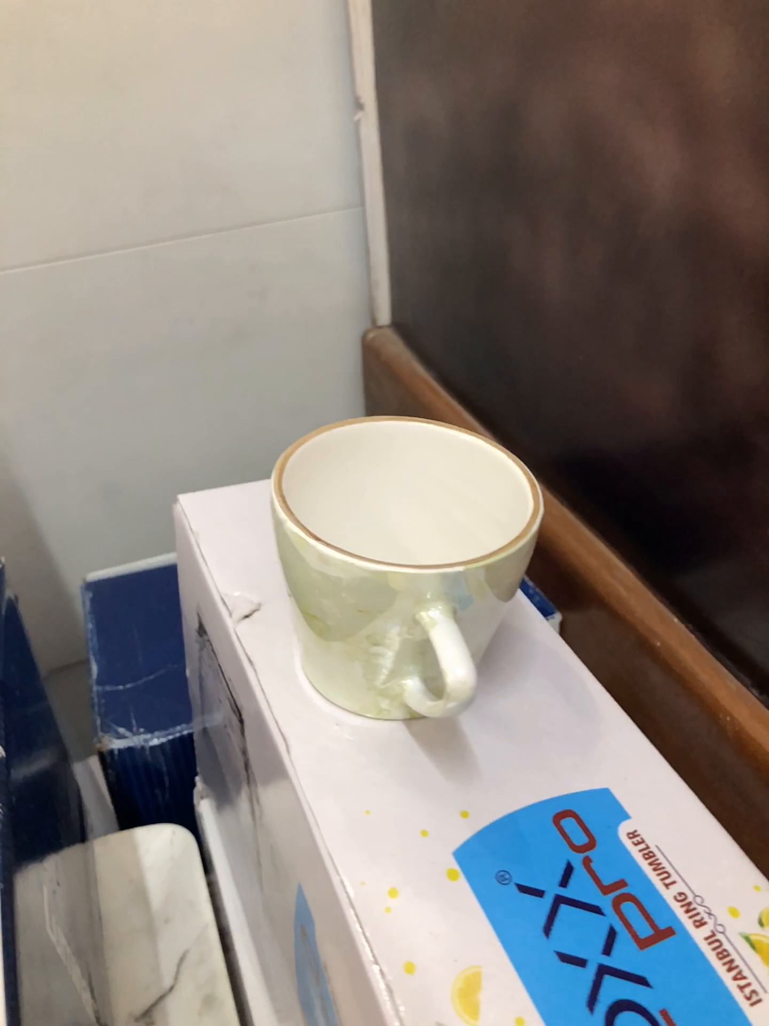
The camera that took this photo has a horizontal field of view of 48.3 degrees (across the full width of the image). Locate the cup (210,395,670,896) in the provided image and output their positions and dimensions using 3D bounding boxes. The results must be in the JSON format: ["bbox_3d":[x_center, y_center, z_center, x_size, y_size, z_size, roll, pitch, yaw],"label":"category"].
[{"bbox_3d":[0.006,0.025,0.221,0.070,0.060,0.100,-14,40,-22],"label":"cup"}]
